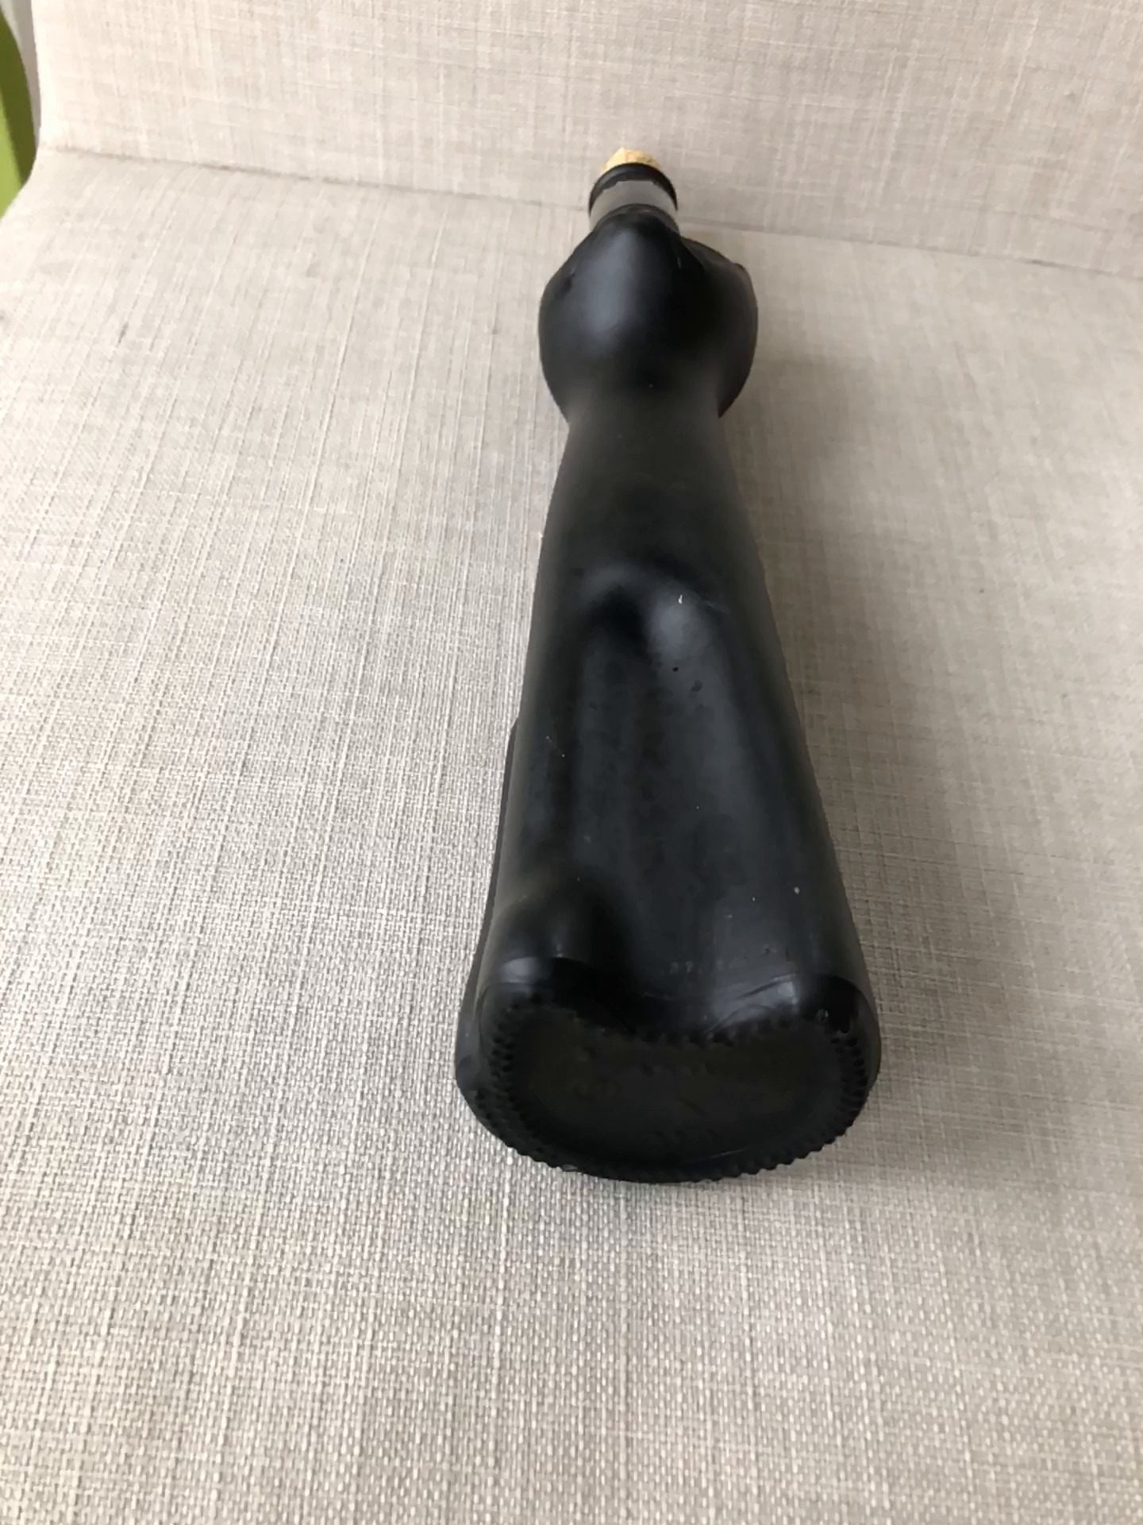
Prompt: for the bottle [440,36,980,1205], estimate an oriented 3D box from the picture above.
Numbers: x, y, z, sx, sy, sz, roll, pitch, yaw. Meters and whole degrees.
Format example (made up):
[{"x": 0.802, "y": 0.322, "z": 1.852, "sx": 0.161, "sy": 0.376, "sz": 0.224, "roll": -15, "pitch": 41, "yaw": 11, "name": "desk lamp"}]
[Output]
[{"x": 0.019, "y": -0.063, "z": 0.312, "sx": 0.077, "sy": 0.079, "sz": 0.312, "roll": 5, "pitch": 52, "yaw": -5, "name": "bottle"}]
